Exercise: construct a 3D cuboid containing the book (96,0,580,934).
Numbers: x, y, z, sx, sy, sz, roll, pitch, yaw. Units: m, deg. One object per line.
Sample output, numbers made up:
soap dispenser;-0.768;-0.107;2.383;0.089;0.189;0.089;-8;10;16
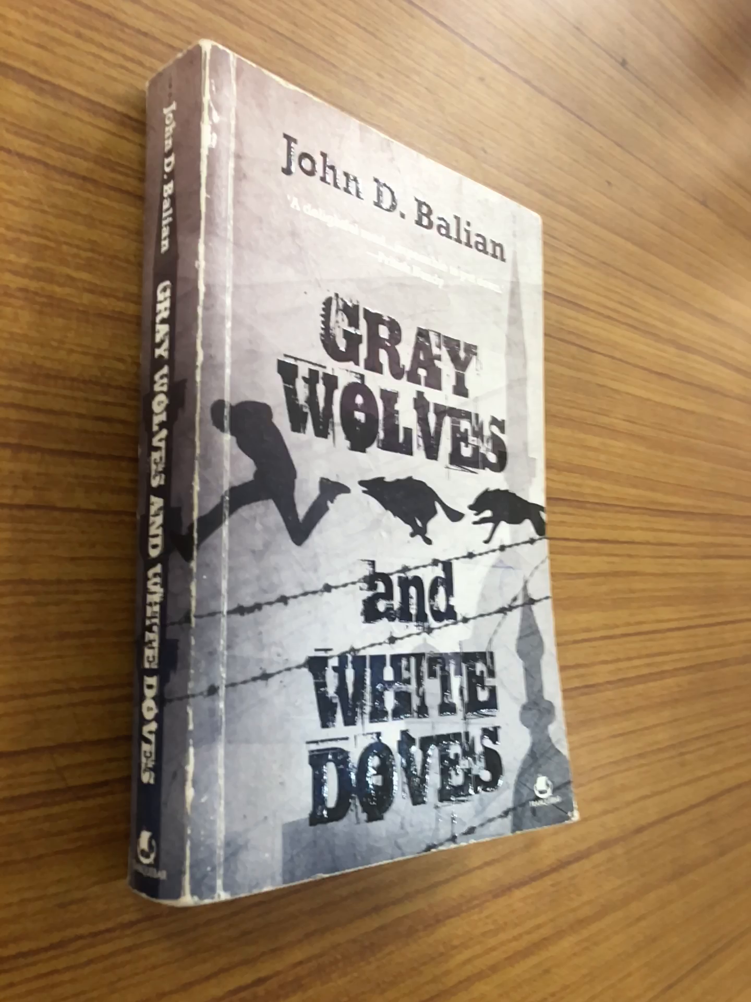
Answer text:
book;-0.001;-0.013;0.229;0.131;0.030;0.210;8;77;-40
